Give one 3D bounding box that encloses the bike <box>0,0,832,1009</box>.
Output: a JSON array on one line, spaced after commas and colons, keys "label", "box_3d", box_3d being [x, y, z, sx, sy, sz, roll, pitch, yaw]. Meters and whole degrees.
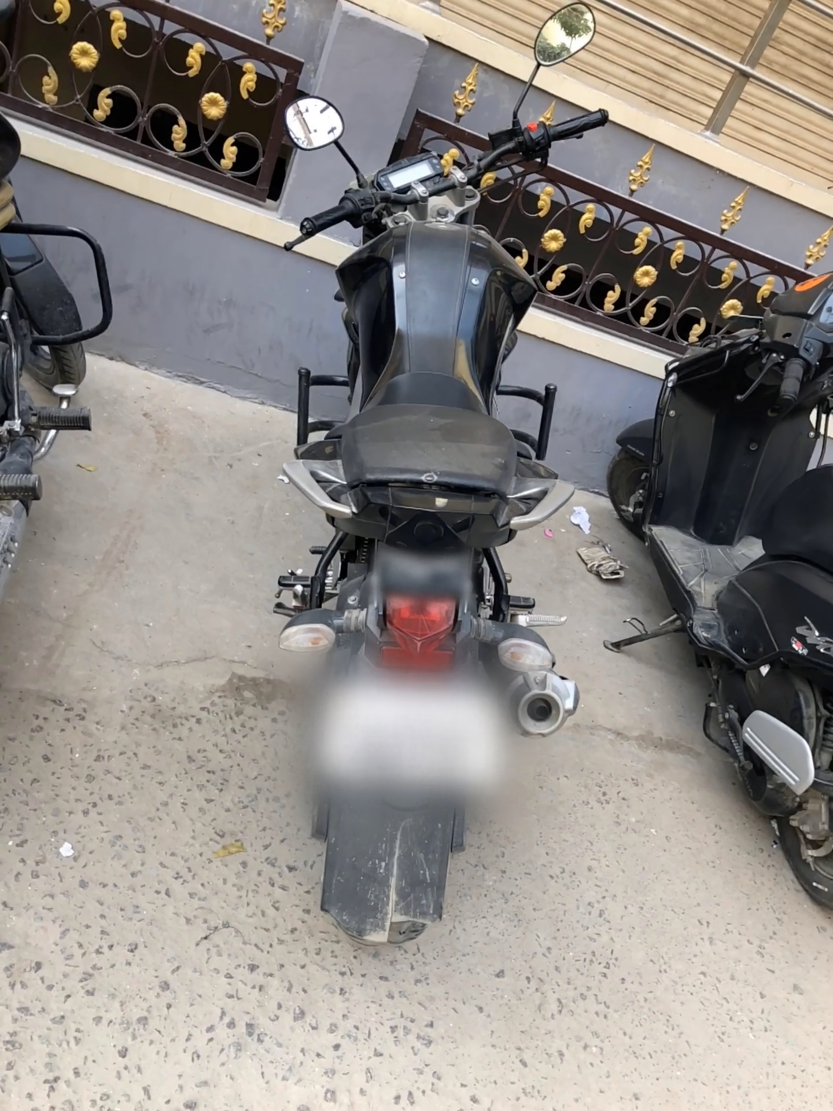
[{"label": "bike", "box_3d": [-0.144, -0.372, 1.808, 0.692, 1.197, 1.767, 16, 33, -16]}]
